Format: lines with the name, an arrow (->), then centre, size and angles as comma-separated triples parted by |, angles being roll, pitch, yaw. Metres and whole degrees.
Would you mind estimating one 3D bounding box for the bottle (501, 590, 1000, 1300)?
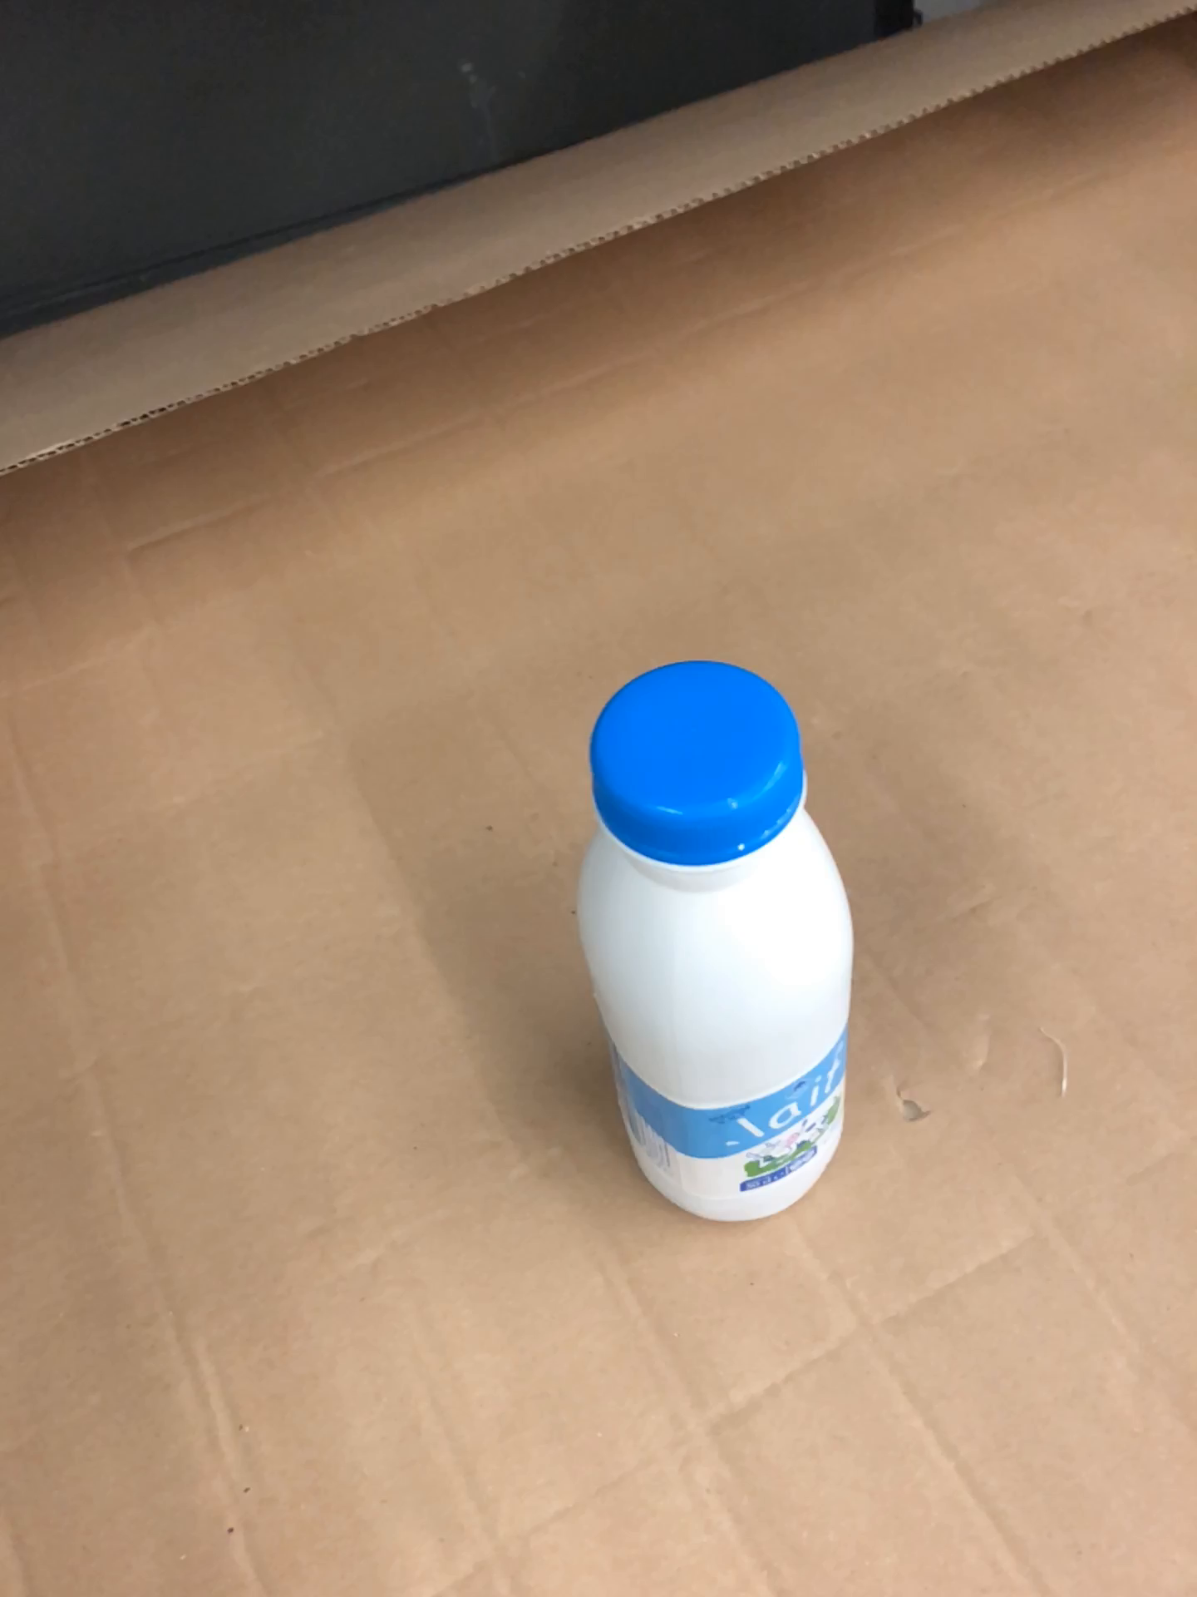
bottle -> 0.035, 0.050, 0.332 | 0.070, 0.189, 0.070 | -3, 54, 4
